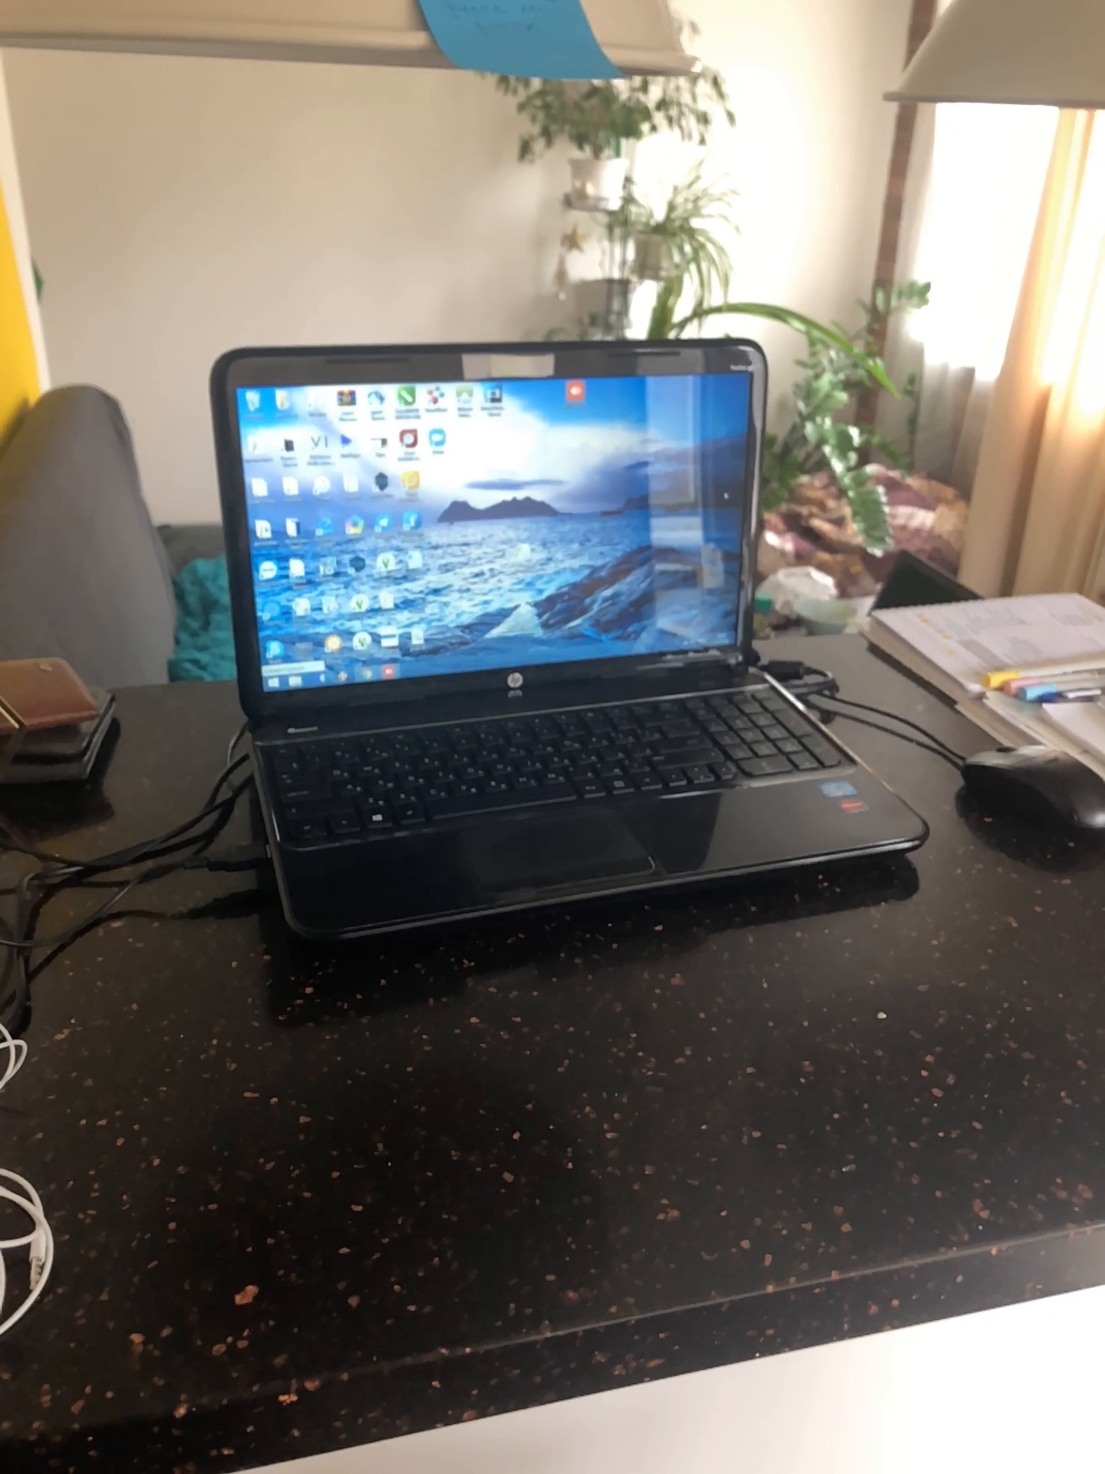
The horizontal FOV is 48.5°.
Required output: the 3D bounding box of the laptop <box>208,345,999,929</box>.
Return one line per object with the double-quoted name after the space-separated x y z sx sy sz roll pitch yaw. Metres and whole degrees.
0.007 -0.086 0.714 0.360 0.217 0.269 -7 29 -18 "laptop"
